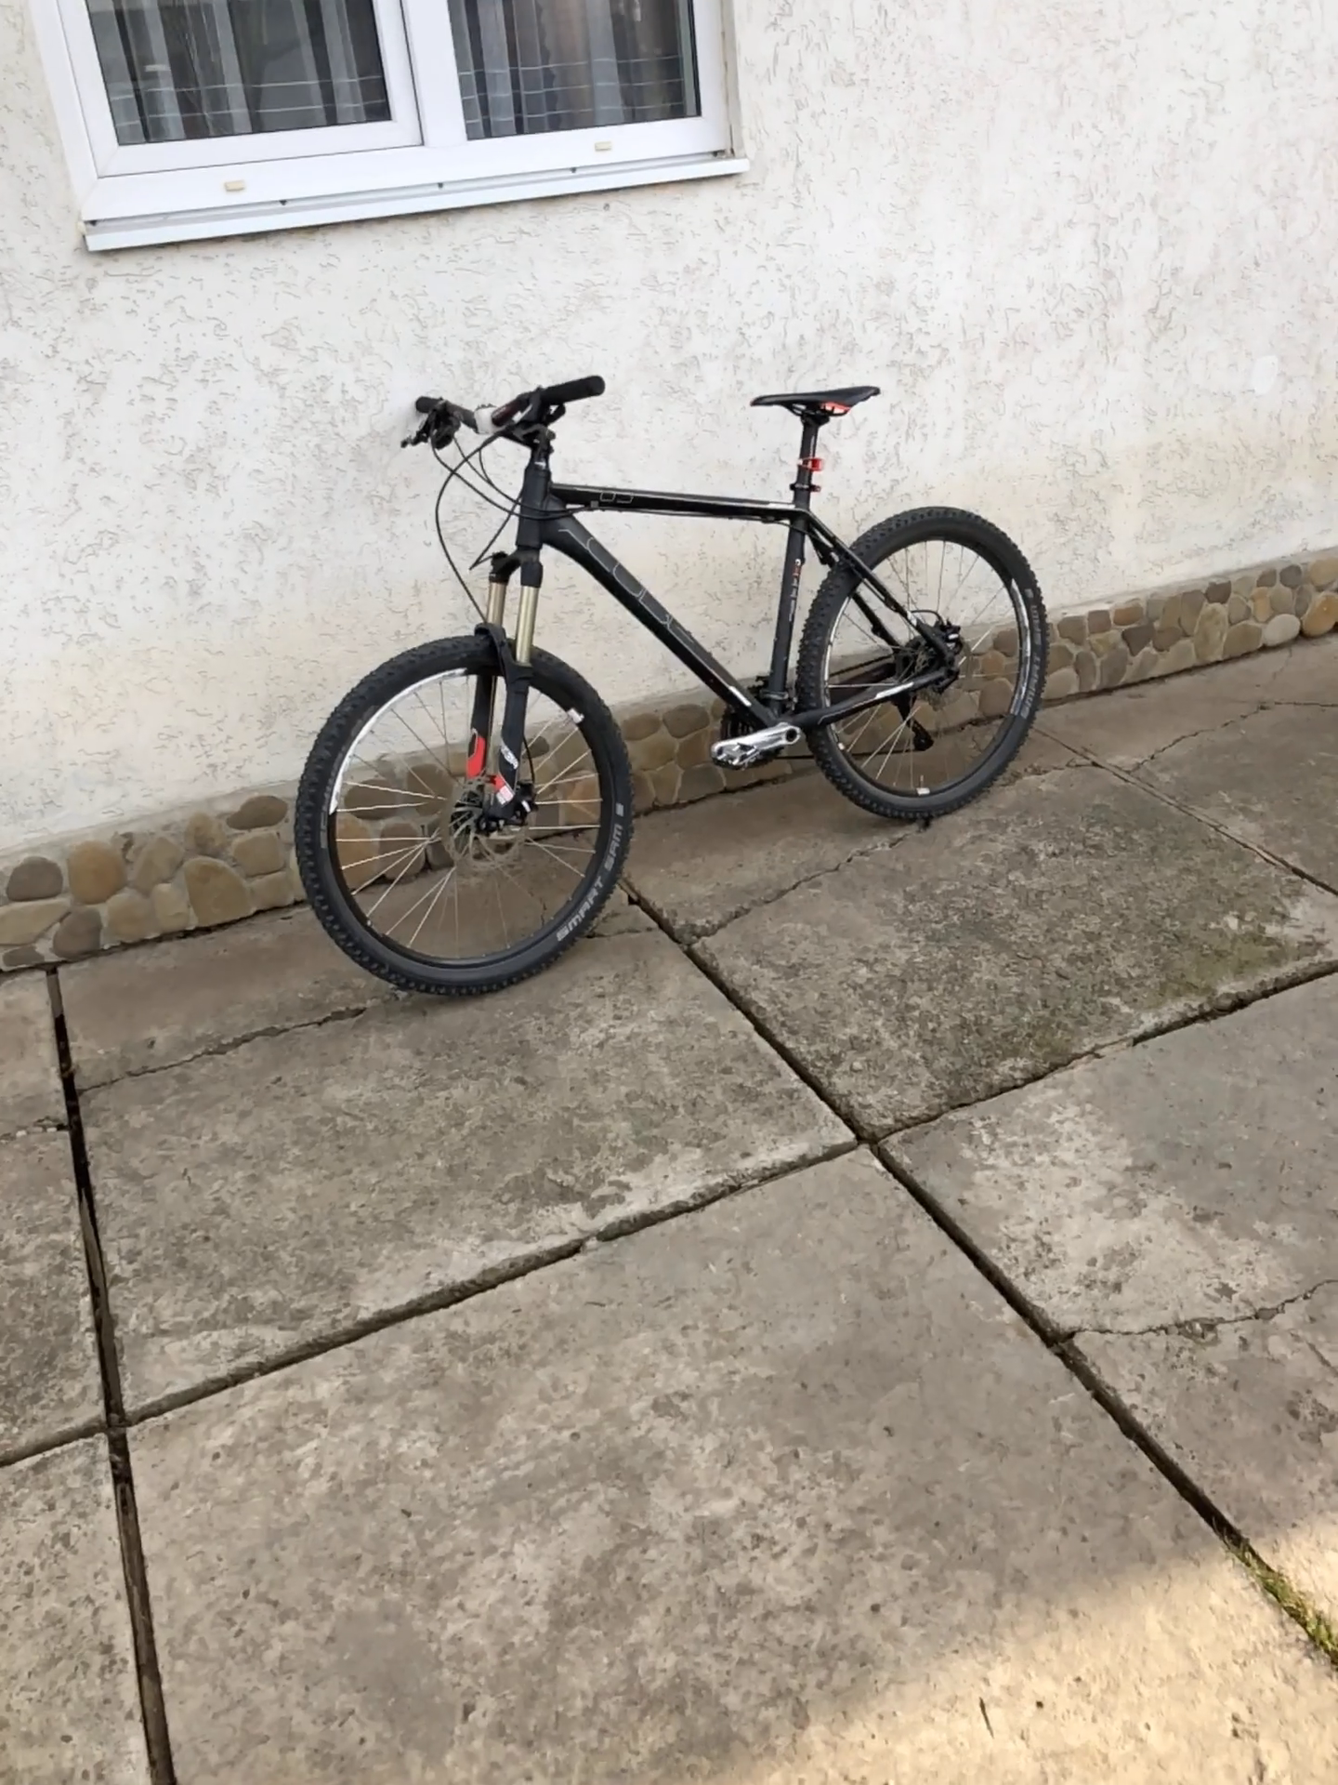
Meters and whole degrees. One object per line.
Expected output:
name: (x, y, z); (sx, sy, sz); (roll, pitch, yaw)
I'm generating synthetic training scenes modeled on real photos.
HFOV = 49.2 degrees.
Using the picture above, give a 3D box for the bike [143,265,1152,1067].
bike: (0.043, -0.564, 2.952); (1.777, 1.090, 0.688); (-19, 32, -25)
